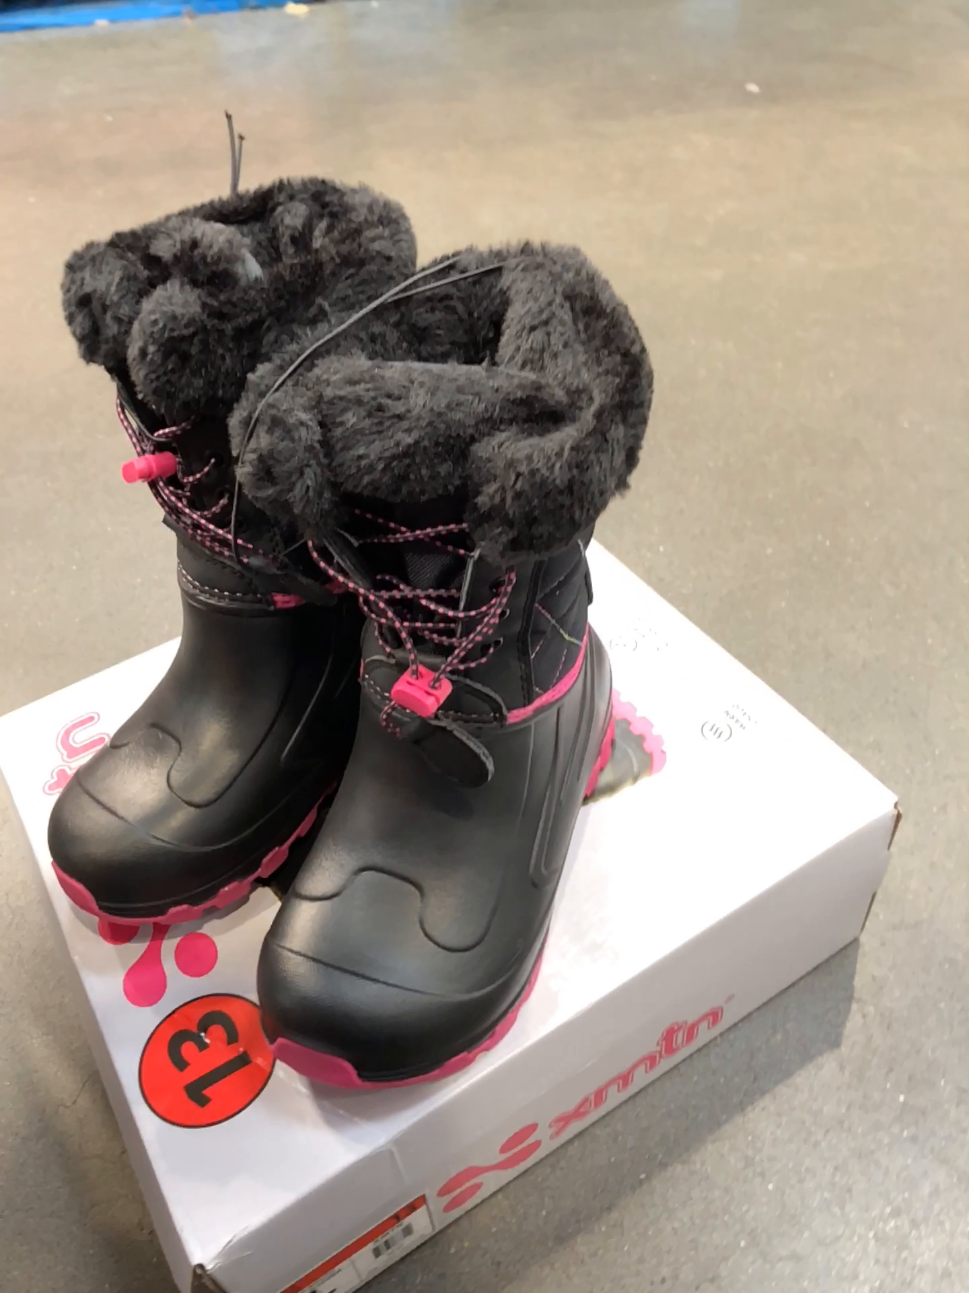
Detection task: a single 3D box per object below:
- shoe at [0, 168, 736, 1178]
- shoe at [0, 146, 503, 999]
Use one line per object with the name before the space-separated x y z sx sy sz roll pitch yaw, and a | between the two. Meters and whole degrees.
shoe | -0.019 0.006 0.359 0.110 0.229 0.221 19 50 23
shoe | -0.109 -0.032 0.403 0.110 0.209 0.221 27 53 28
